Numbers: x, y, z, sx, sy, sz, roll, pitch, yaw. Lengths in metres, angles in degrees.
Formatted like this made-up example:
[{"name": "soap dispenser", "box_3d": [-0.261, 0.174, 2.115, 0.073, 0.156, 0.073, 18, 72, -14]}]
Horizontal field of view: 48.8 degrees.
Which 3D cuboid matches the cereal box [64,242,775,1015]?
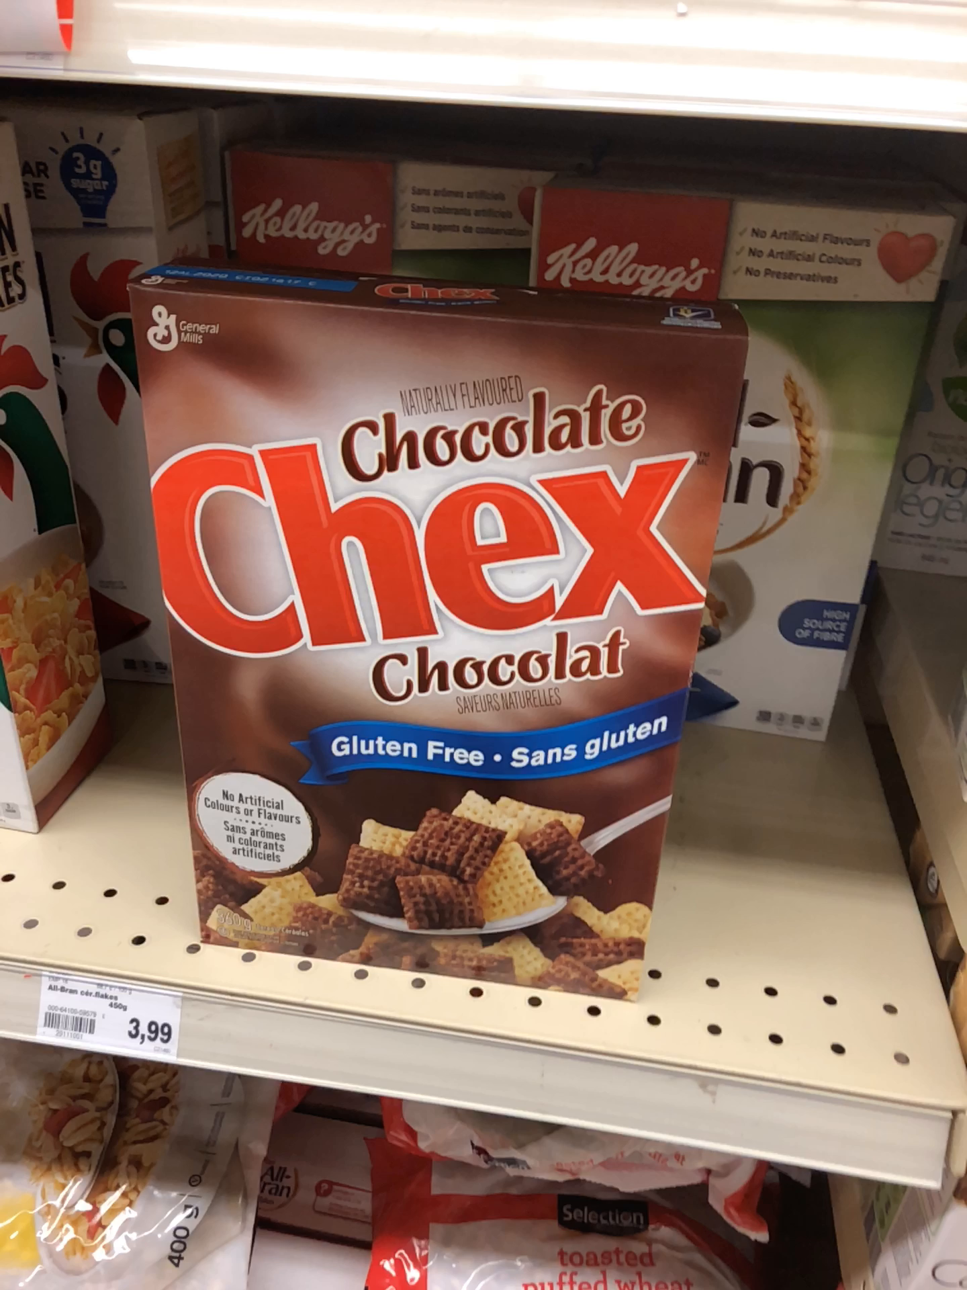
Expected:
[{"name": "cereal box", "box_3d": [-0.025, 0.007, 0.400, 0.210, 0.278, 0.050, 6, 30, 6]}]
